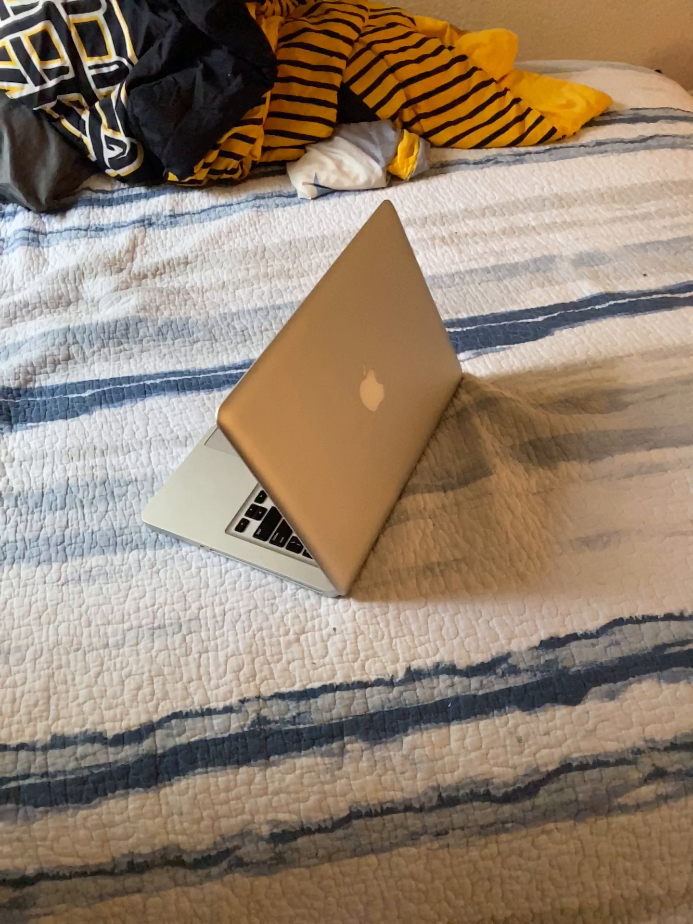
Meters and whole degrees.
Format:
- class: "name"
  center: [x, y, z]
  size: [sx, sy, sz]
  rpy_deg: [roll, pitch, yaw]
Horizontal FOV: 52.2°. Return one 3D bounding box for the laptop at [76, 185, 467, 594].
- class: "laptop"
  center: [-0.046, -0.087, 0.687]
  size: [0.220, 0.191, 0.316]
  rpy_deg: [18, 53, 20]
